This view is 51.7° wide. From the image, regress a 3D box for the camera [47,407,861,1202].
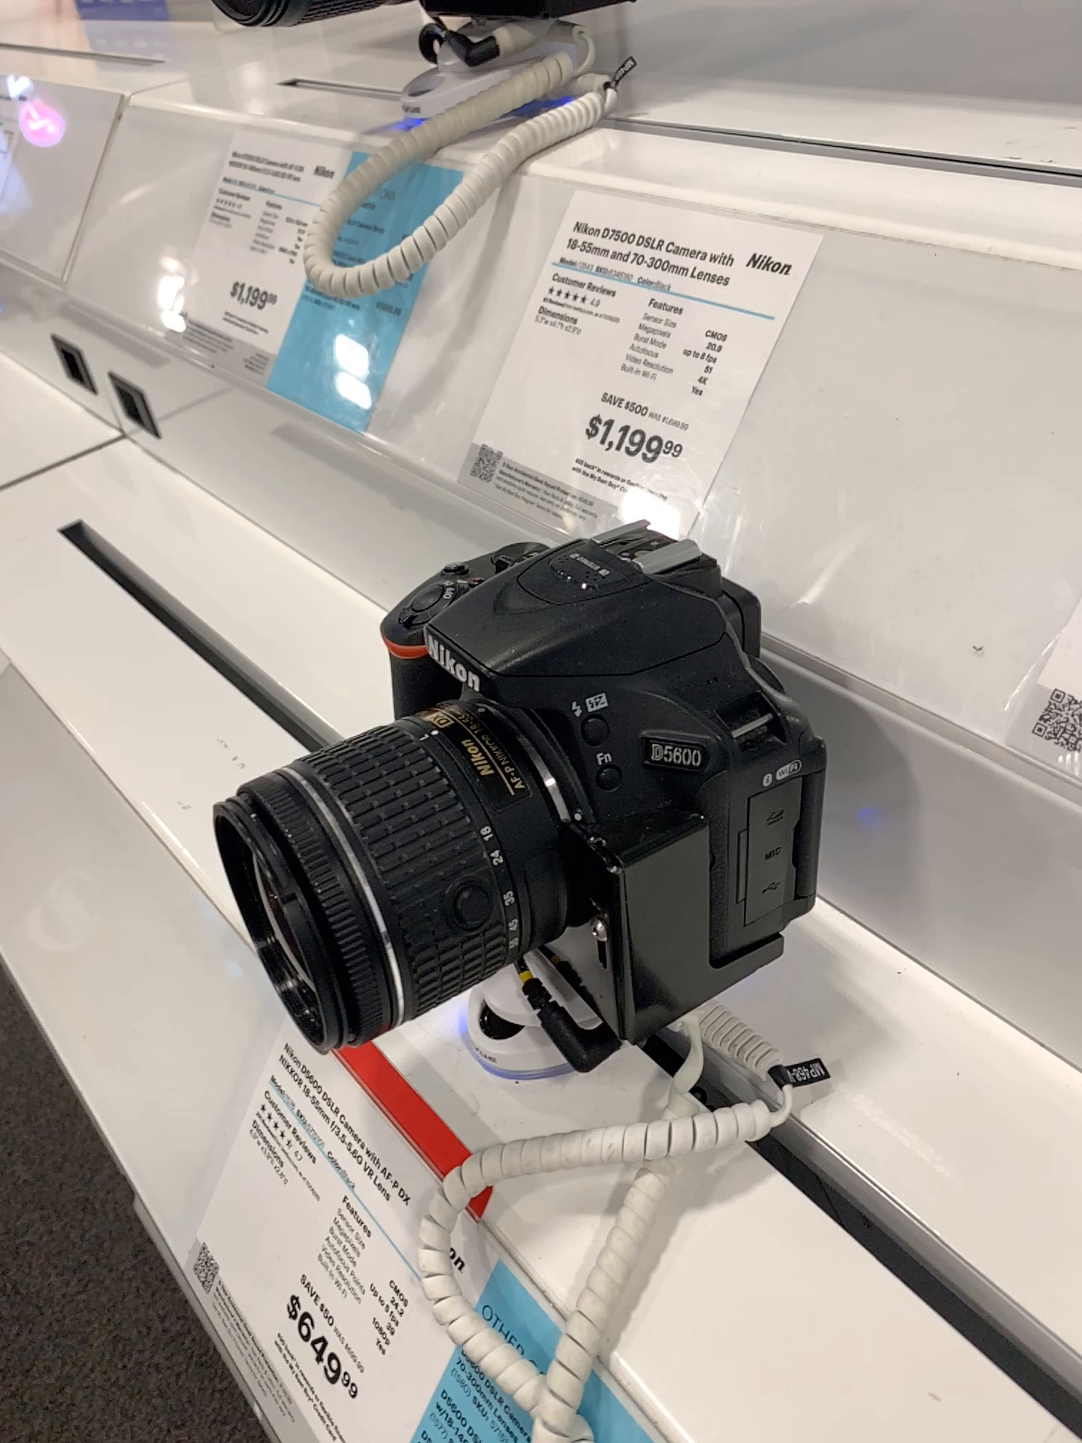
[{"bbox_3d":[-0.021,0.004,0.260,0.120,0.090,0.131,-26,41,-26],"label":"camera"}]
